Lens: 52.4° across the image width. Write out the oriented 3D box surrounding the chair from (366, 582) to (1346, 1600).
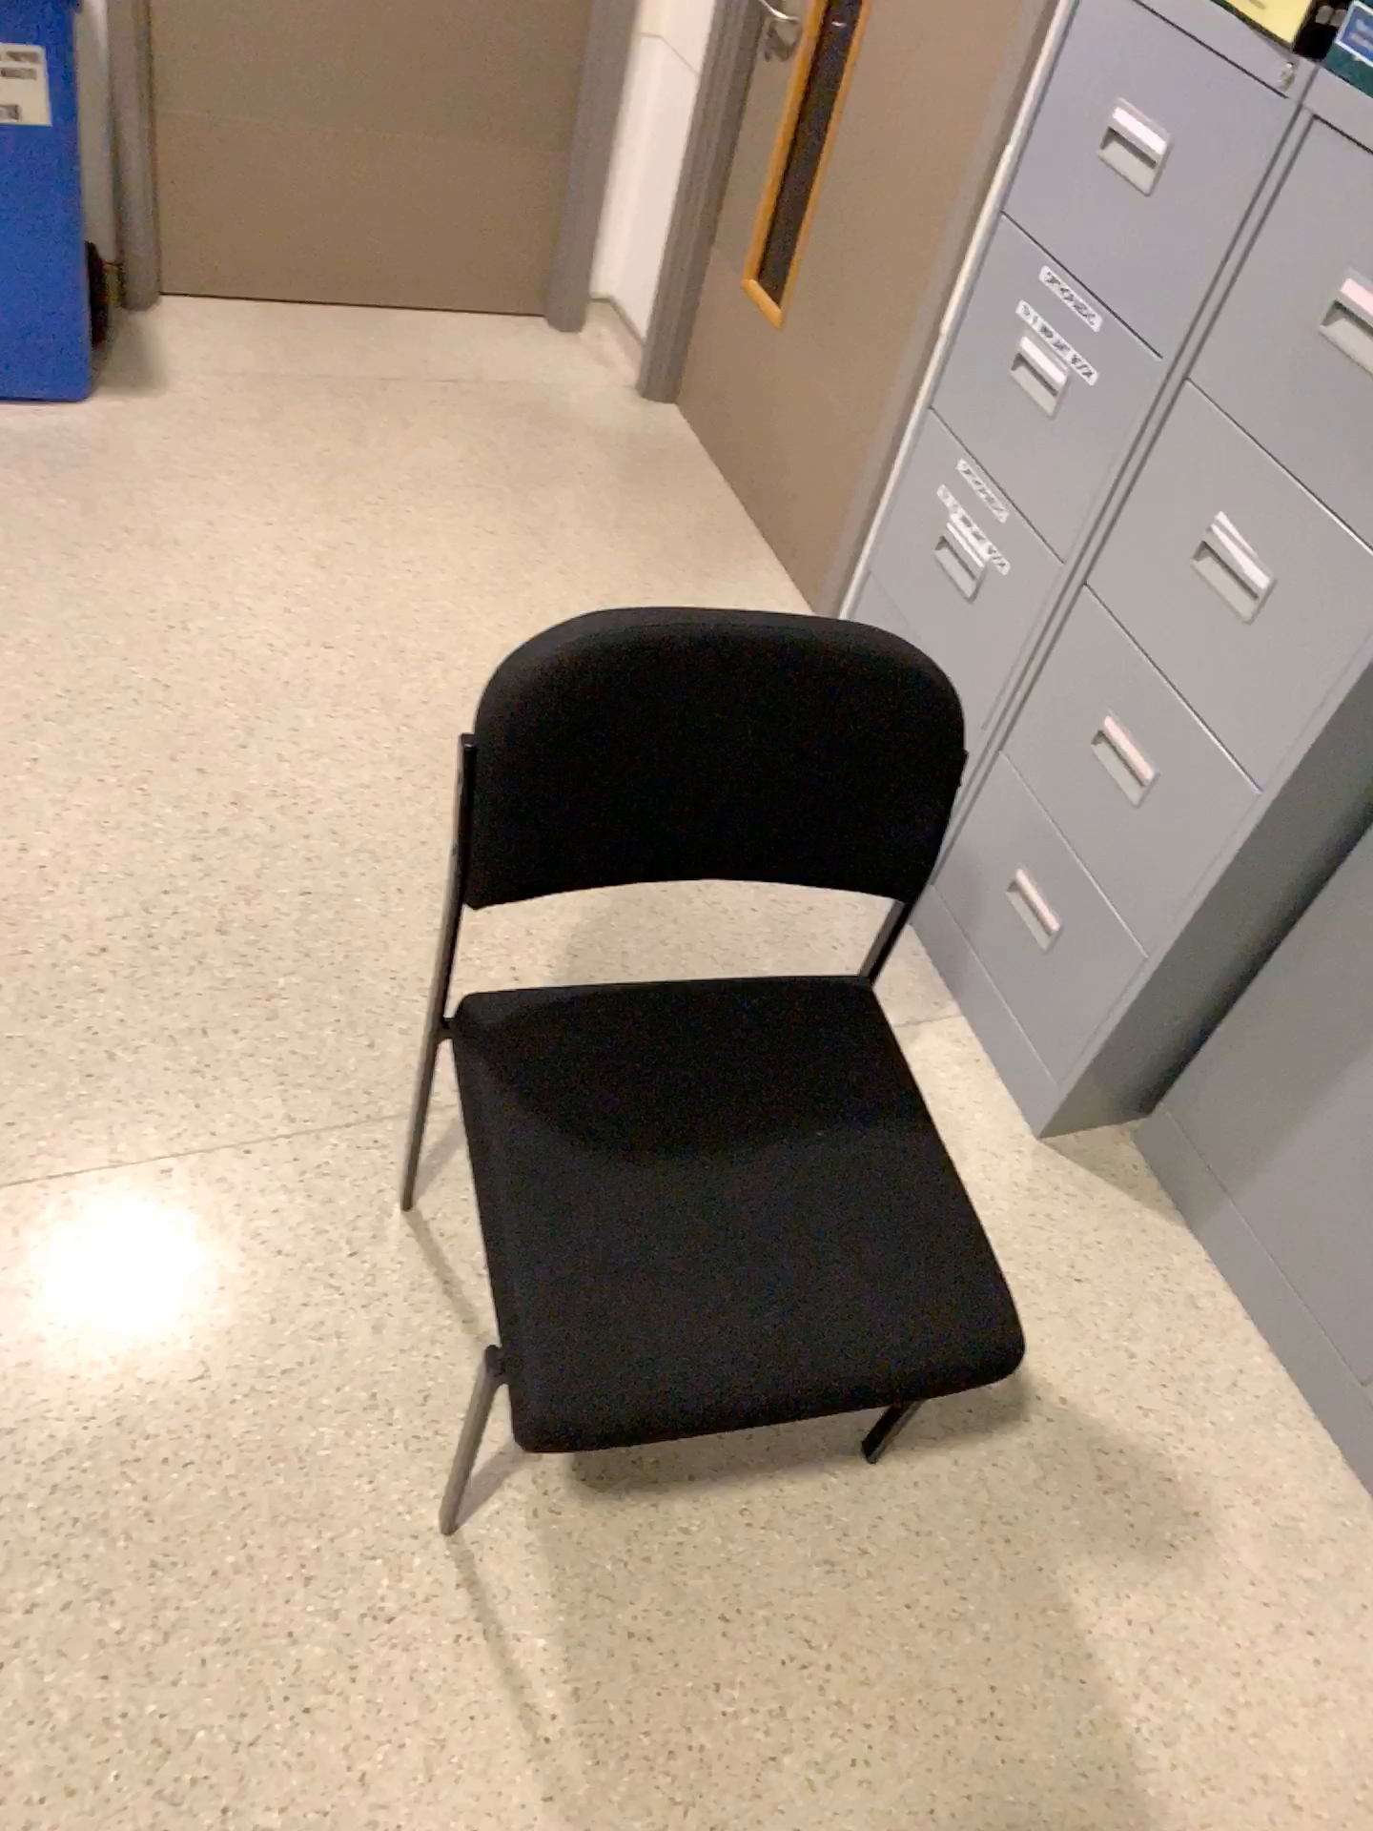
[{"bbox_3d":[0.045,0.197,1.462,0.631,0.852,0.595,-2,48,-20],"label":"chair"}]
